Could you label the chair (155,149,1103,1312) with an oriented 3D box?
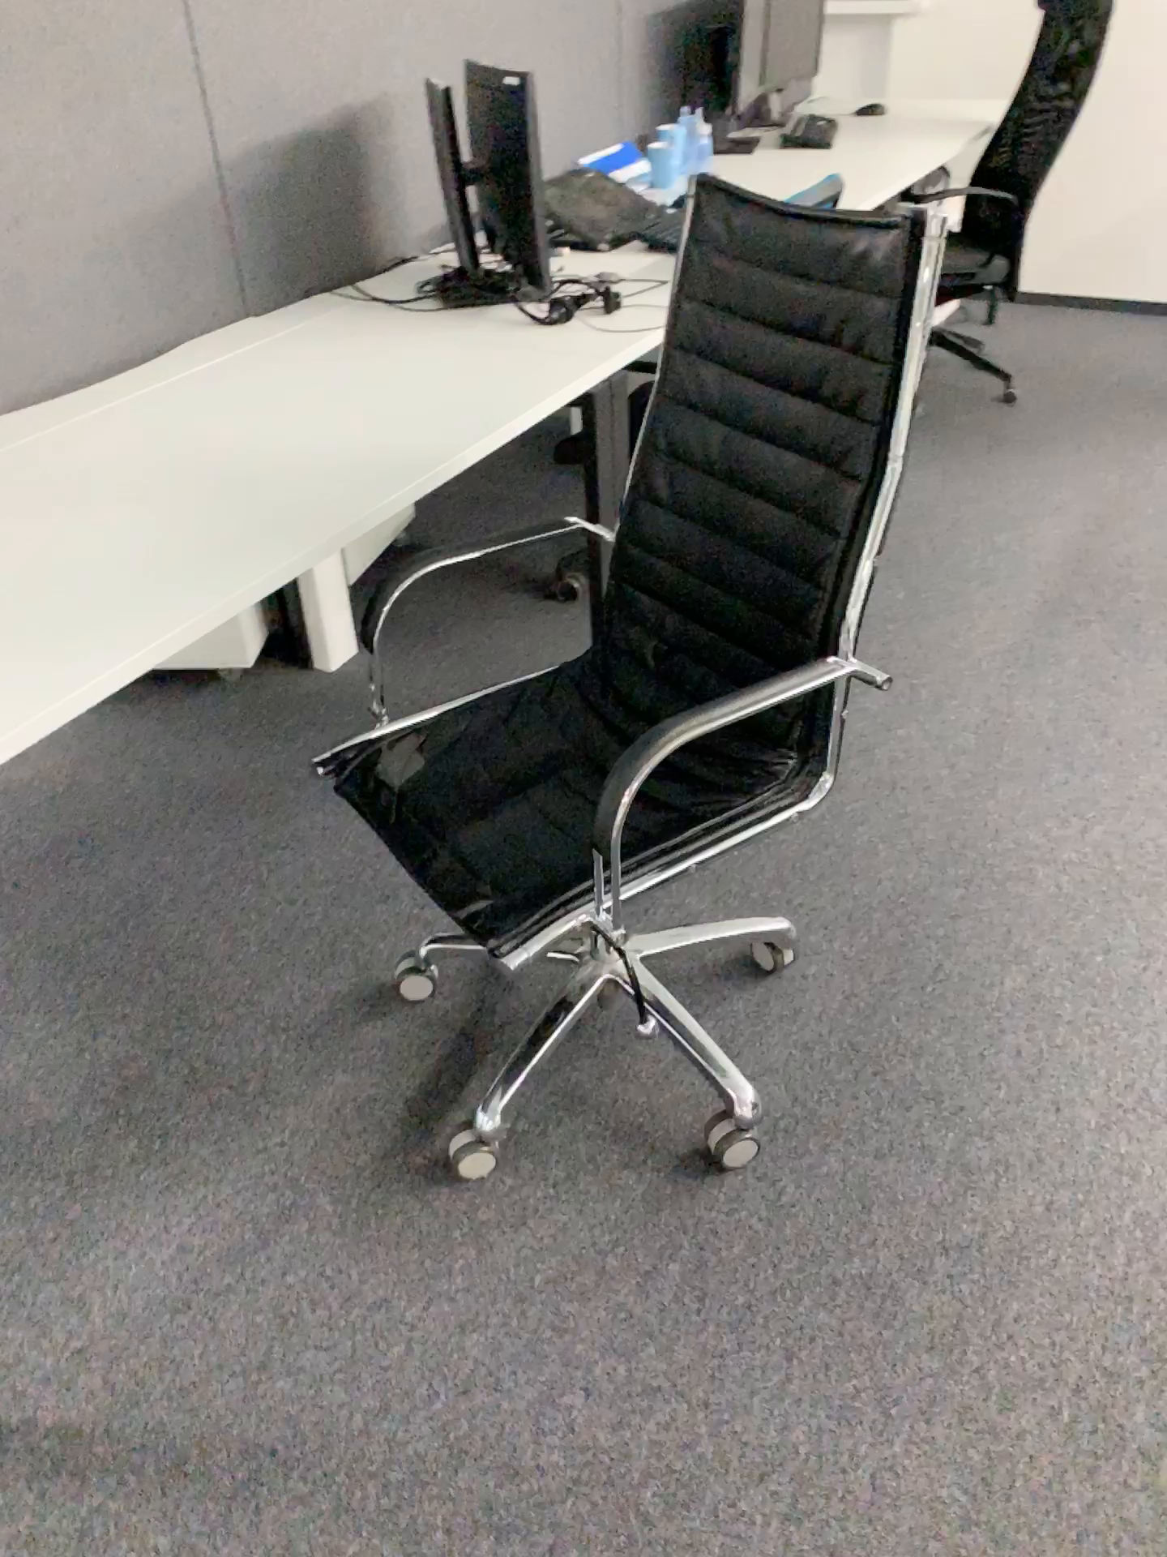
[{"bbox_3d":[0.033,-0.078,1.499,0.691,1.134,0.643,-21,40,-24],"label":"chair"}]
